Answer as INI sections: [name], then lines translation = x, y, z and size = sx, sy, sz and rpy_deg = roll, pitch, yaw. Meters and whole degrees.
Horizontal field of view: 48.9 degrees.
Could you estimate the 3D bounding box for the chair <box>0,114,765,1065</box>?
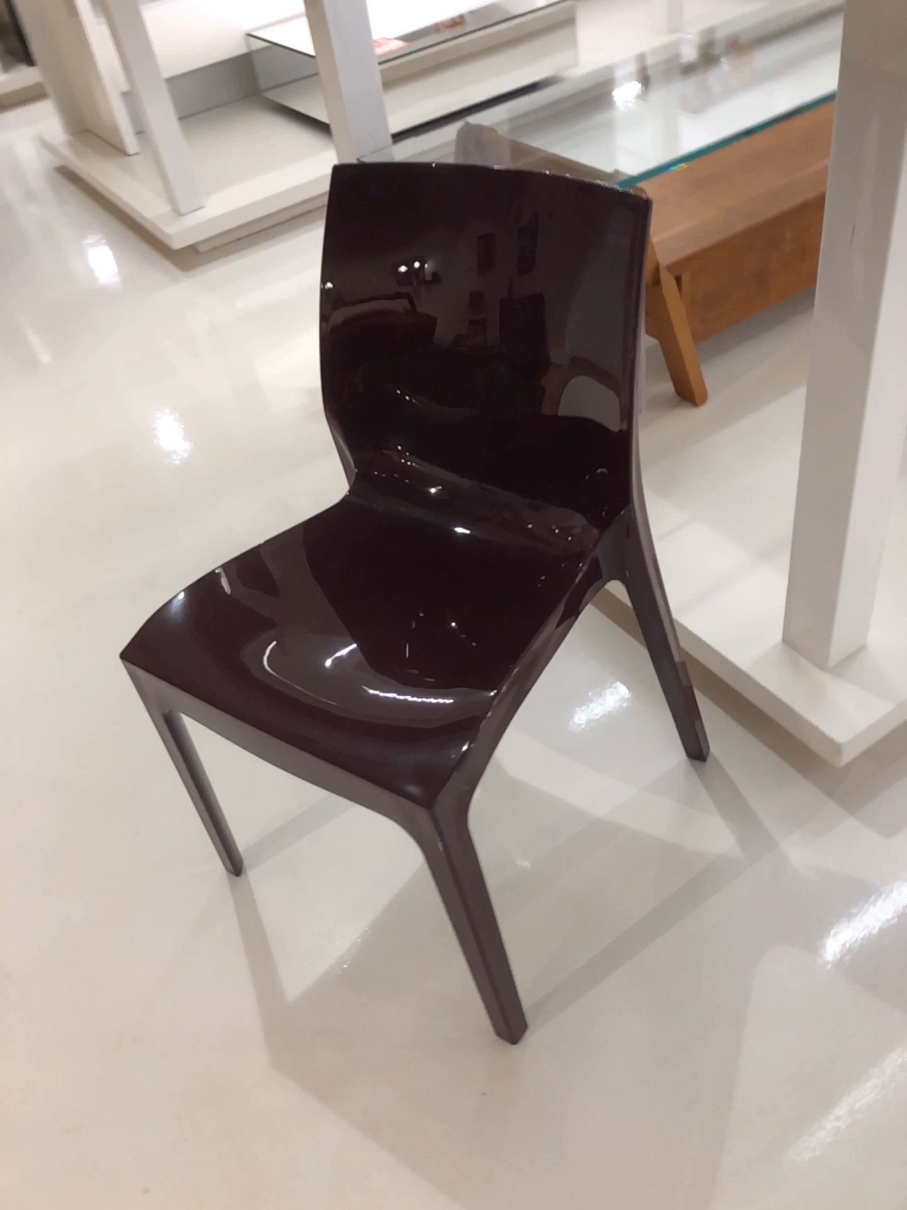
[chair]
translation = -0.031, -0.025, 1.152
size = 0.532, 0.814, 0.563
rpy_deg = 20, 50, 29
